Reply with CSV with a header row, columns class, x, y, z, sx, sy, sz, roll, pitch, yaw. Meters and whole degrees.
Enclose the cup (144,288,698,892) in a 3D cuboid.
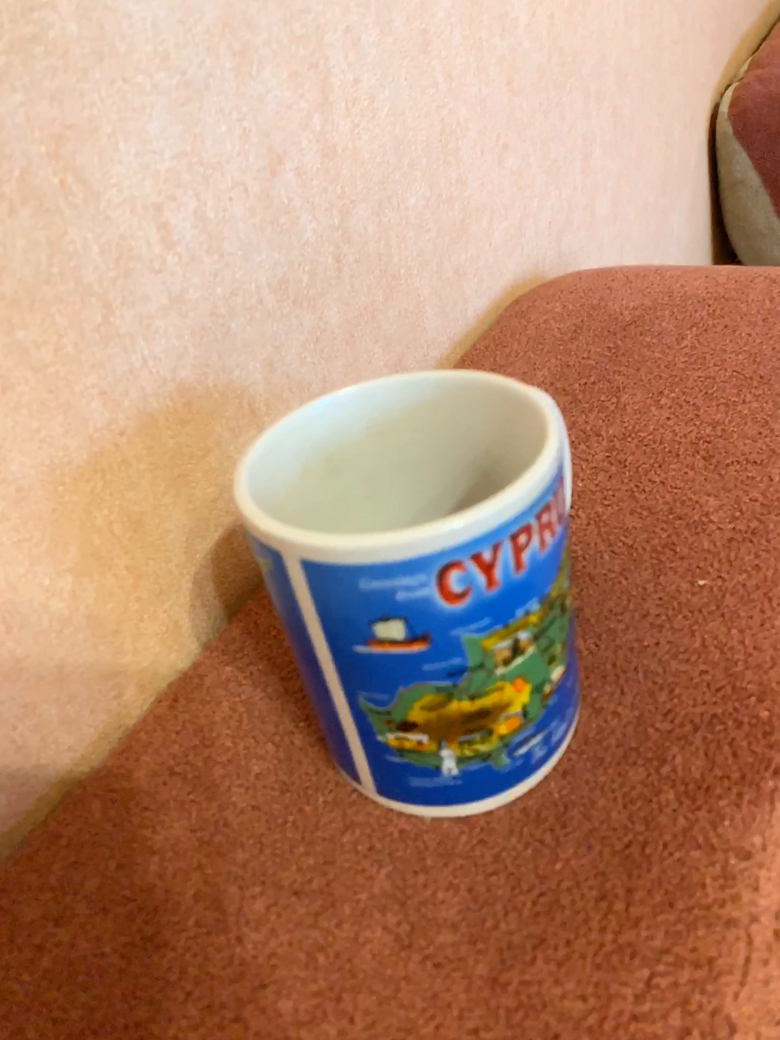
class,x,y,z,sx,sy,sz,roll,pitch,yaw
cup,0.020,0.007,0.218,0.085,0.091,0.119,15,45,32
